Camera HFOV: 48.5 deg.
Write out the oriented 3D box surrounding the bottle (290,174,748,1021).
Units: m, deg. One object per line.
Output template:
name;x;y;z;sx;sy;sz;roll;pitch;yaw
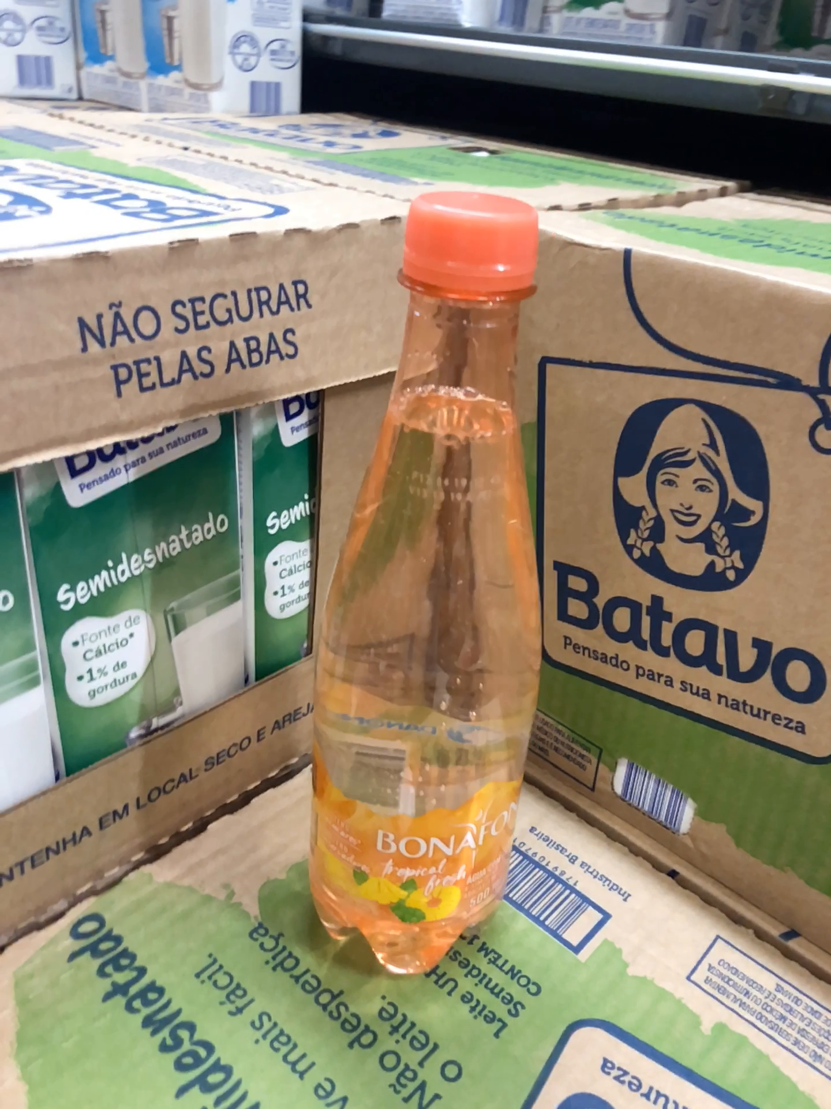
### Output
bottle;0.011;0.022;0.262;0.080;0.228;0.070;-1;30;-13
